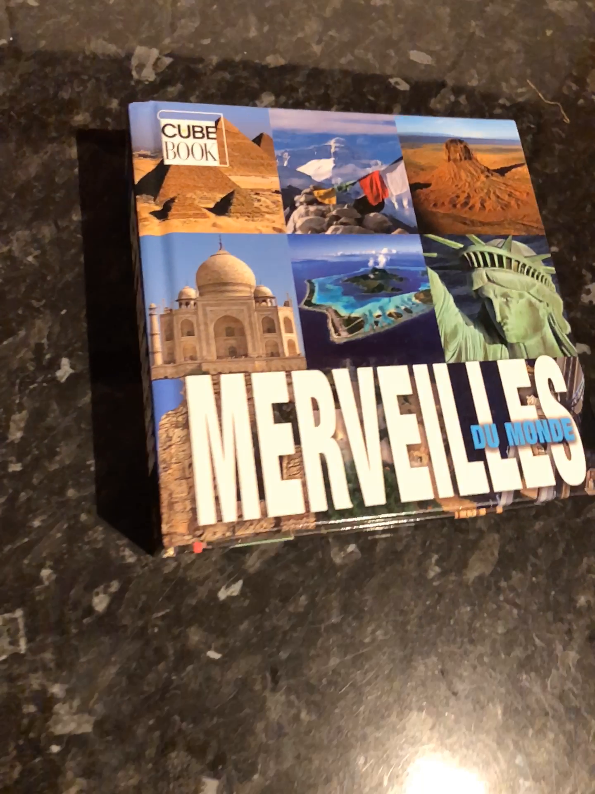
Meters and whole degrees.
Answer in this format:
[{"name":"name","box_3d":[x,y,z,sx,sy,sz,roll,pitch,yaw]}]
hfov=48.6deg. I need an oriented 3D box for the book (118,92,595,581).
[{"name":"book","box_3d":[0.025,-0.025,0.253,0.170,0.060,0.160,-4,73,-15]}]
